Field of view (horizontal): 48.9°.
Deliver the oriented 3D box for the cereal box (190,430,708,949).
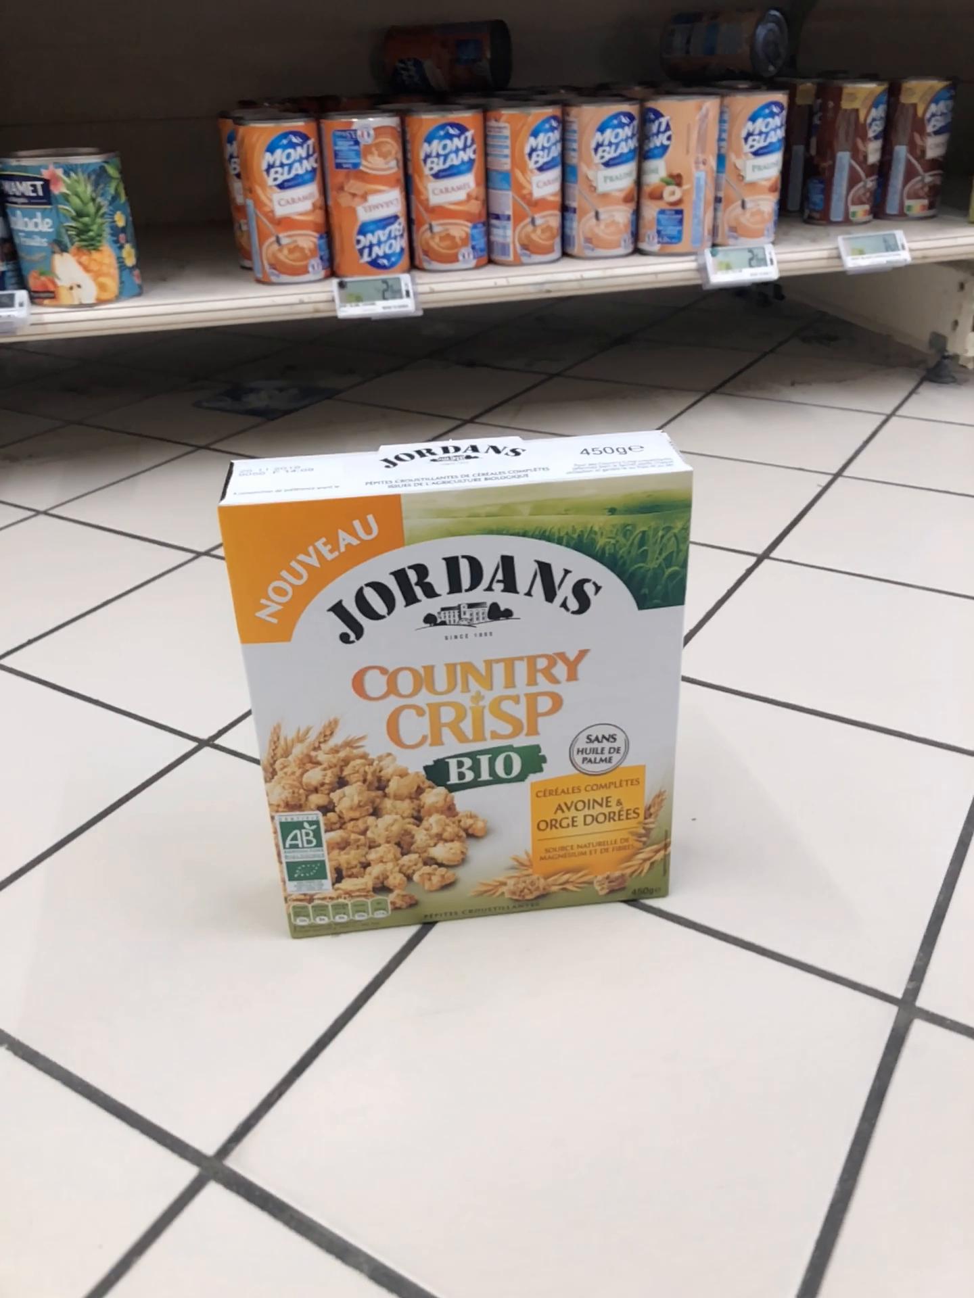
[{"bbox_3d":[-0.012,0.021,0.466,0.190,0.209,0.060,-5,28,-4],"label":"cereal box"}]
